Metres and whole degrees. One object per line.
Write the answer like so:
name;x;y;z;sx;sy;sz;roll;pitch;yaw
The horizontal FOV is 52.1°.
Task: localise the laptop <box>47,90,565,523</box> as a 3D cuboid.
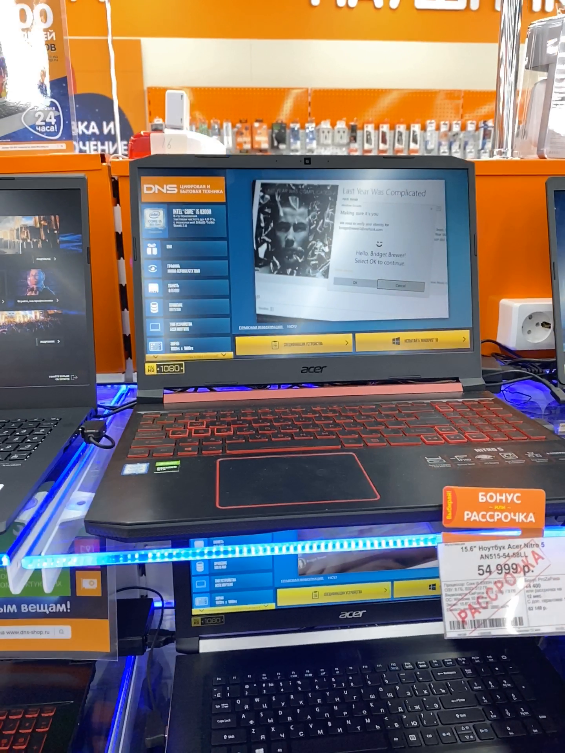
laptop;0.044;-0.070;0.486;0.360;0.237;0.303;-2;14;-7
